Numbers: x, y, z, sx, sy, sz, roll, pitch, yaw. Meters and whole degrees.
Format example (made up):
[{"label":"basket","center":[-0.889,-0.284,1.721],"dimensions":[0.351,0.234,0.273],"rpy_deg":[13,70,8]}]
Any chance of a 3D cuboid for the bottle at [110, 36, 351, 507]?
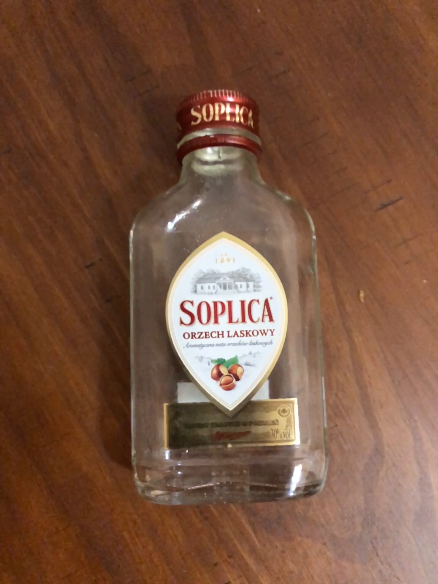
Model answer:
[{"label":"bottle","center":[0.001,-0.010,0.173],"dimensions":[0.070,0.030,0.150],"rpy_deg":[-3,82,-1]}]
